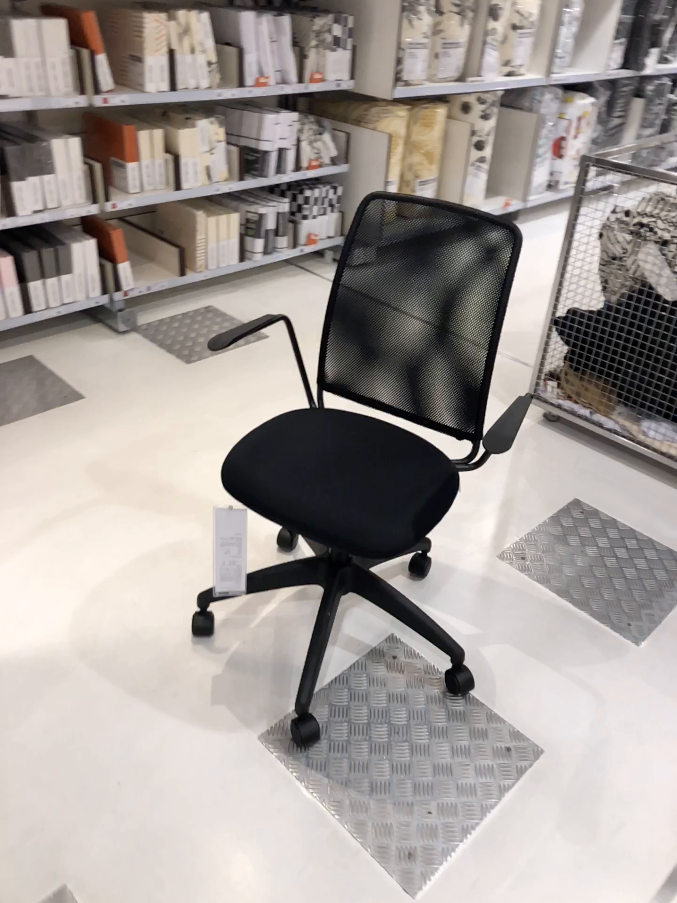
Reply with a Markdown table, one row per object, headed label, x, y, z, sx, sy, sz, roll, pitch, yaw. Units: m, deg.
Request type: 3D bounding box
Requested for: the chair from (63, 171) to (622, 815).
| label | x | y | z | sx | sy | sz | roll | pitch | yaw |
| --- | --- | --- | --- | --- | --- | --- | --- | --- | --- |
| chair | 0.032 | 0.007 | 1.401 | 0.631 | 0.814 | 0.694 | 20 | 36 | 23 |
